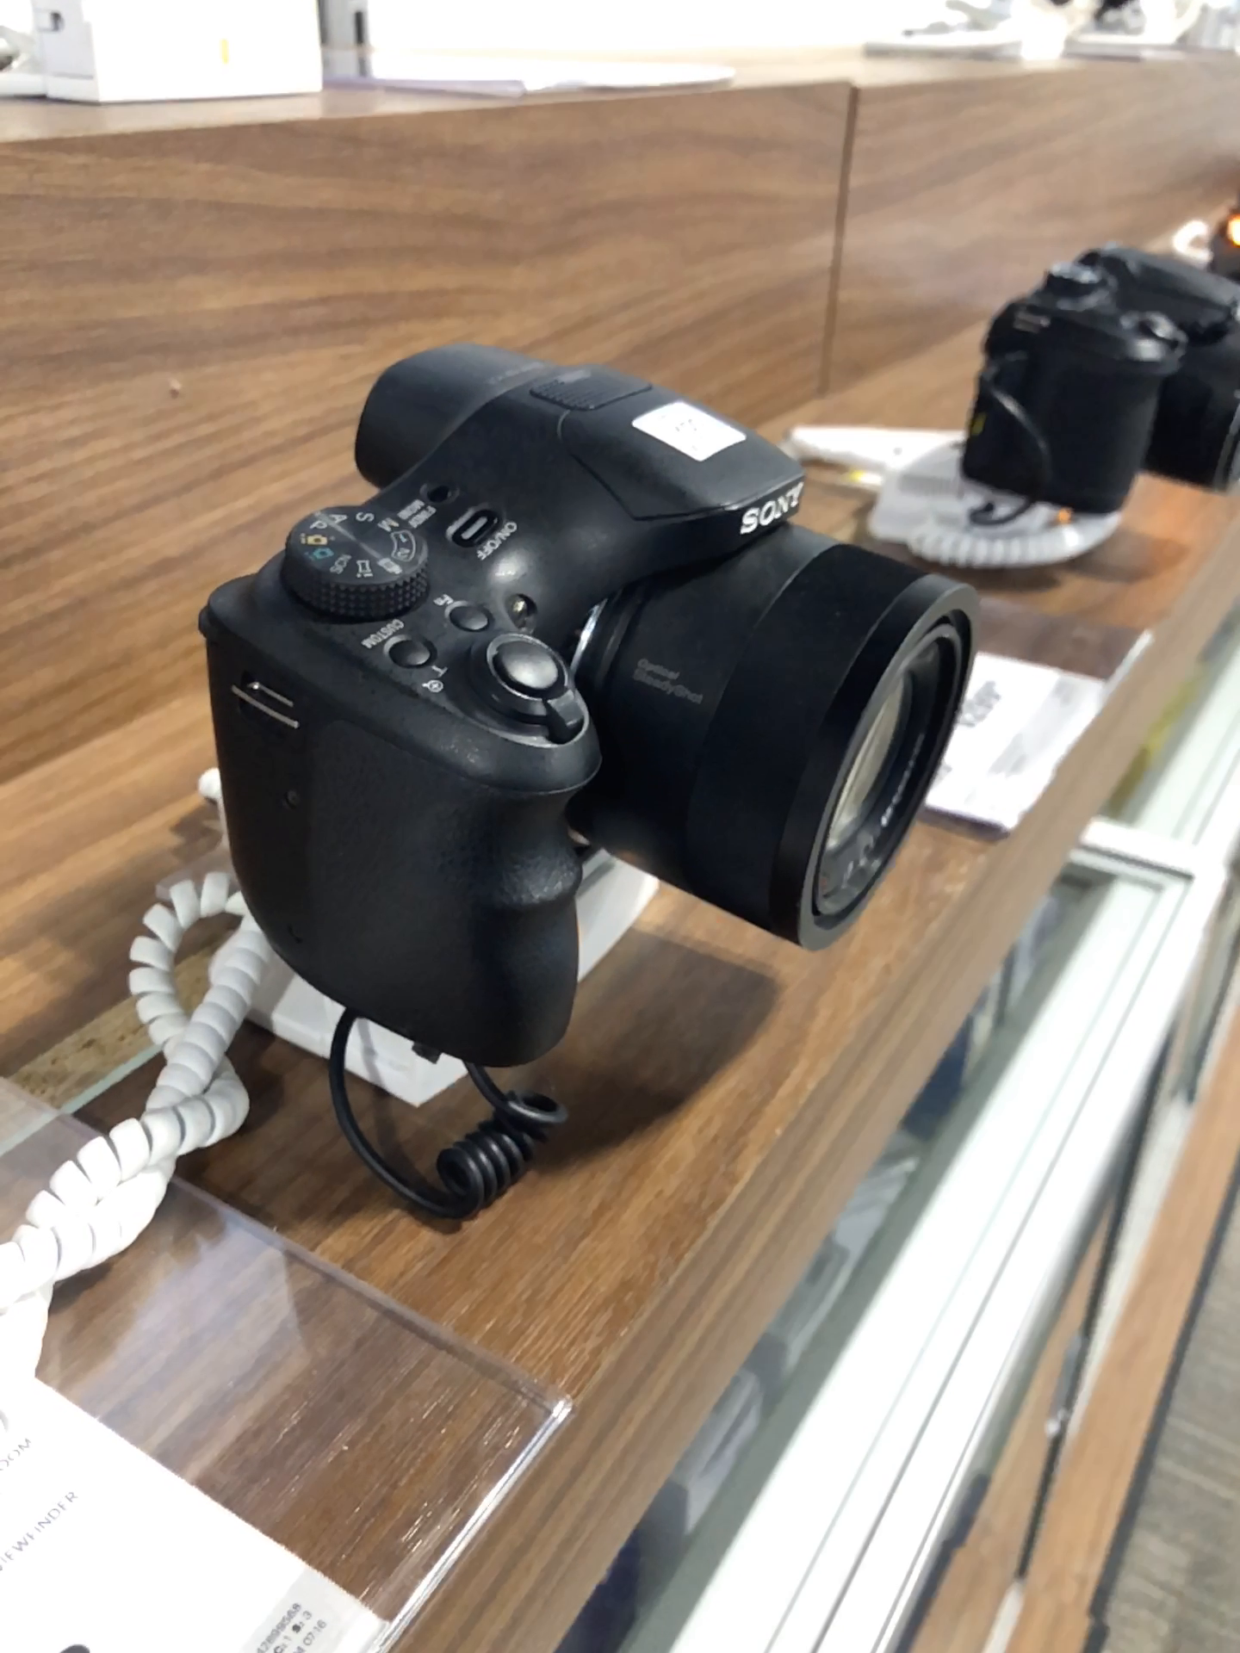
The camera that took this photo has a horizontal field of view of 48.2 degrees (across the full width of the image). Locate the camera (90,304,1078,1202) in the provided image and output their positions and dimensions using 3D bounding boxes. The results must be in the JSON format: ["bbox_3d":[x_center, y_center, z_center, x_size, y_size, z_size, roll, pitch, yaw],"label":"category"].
[{"bbox_3d":[-0.003,-0.029,0.264,0.120,0.089,0.131,24,37,22],"label":"camera"}]
